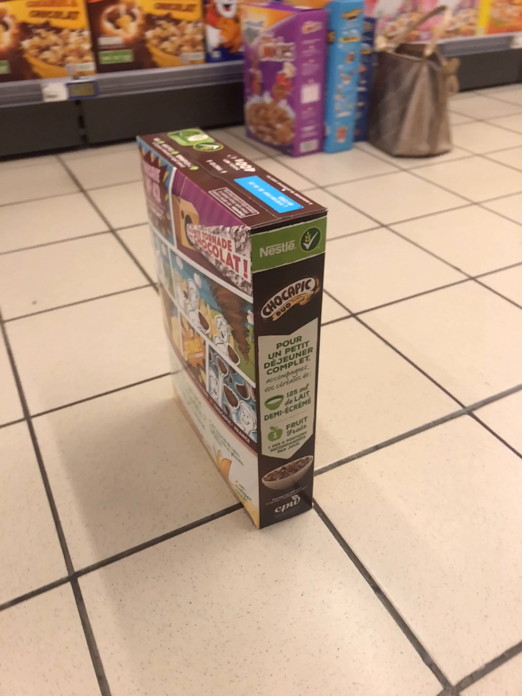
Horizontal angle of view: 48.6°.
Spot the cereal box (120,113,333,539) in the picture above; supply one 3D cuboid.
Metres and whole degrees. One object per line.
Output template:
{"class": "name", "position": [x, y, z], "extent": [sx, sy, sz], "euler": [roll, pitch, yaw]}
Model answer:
{"class": "cereal box", "position": [-0.030, -0.018, 0.468], "extent": [0.060, 0.278, 0.201], "euler": [-19, 39, -22]}
